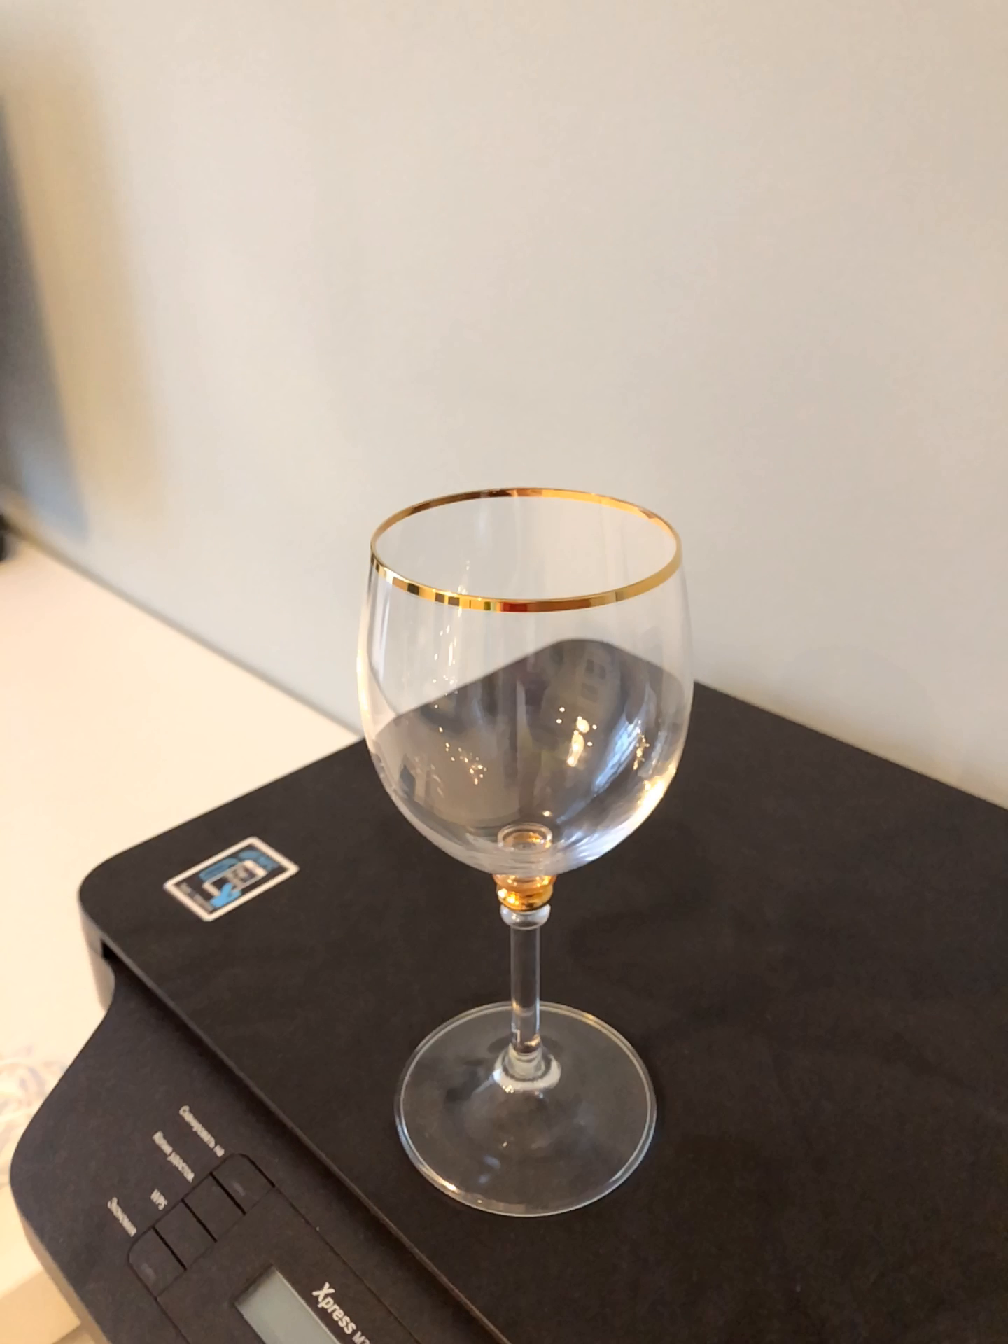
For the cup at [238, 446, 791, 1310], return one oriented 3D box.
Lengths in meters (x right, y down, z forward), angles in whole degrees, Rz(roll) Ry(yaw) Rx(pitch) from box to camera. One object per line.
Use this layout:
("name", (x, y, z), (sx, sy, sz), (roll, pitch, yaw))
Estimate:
("cup", (0.000, 0.046, 0.285), (0.086, 0.177, 0.087), (1, 26, 0))
